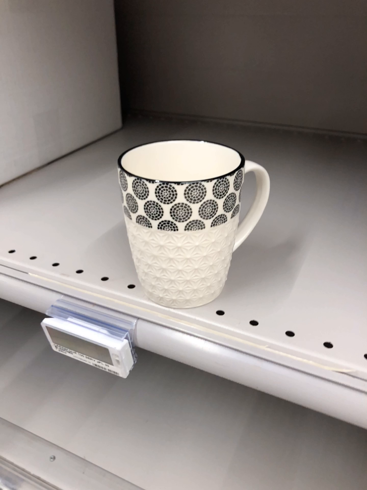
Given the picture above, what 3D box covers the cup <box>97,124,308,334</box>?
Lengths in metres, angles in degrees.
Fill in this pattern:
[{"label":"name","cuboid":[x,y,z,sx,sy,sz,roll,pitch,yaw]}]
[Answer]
[{"label":"cup","cuboid":[0.012,-0.020,0.291,0.106,0.096,0.088,-22,37,-30]}]
